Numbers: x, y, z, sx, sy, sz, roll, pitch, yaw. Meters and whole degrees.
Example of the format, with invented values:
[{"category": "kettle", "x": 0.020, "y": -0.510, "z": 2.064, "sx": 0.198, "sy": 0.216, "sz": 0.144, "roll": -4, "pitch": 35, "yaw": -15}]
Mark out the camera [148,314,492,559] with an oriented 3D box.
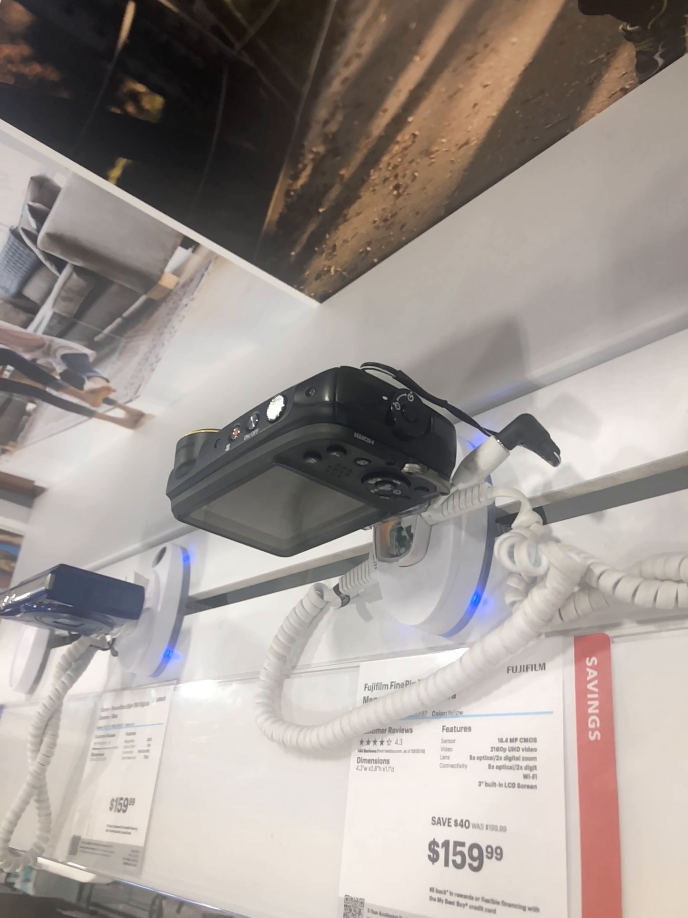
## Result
[{"category": "camera", "x": -0.012, "y": 0.000, "z": 0.279, "sx": 0.110, "sy": 0.070, "sz": 0.030, "roll": -27, "pitch": 49, "yaw": 45}]
